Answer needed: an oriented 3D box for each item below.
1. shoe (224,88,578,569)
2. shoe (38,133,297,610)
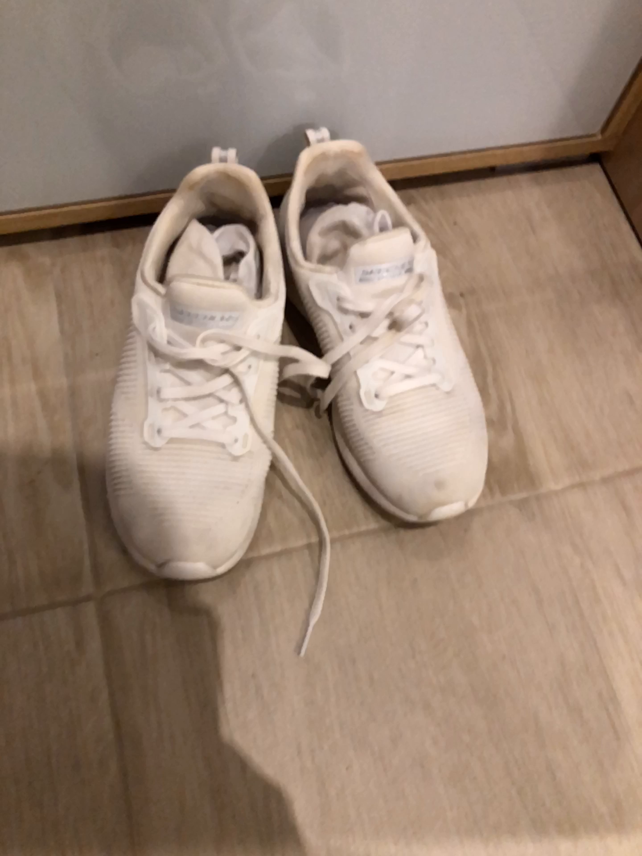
[{"bbox_3d":[0.033,-0.069,0.470,0.110,0.110,0.281,-17,69,-12],"label":"shoe"},{"bbox_3d":[-0.079,-0.036,0.446,0.110,0.110,0.271,4,66,-4],"label":"shoe"}]
